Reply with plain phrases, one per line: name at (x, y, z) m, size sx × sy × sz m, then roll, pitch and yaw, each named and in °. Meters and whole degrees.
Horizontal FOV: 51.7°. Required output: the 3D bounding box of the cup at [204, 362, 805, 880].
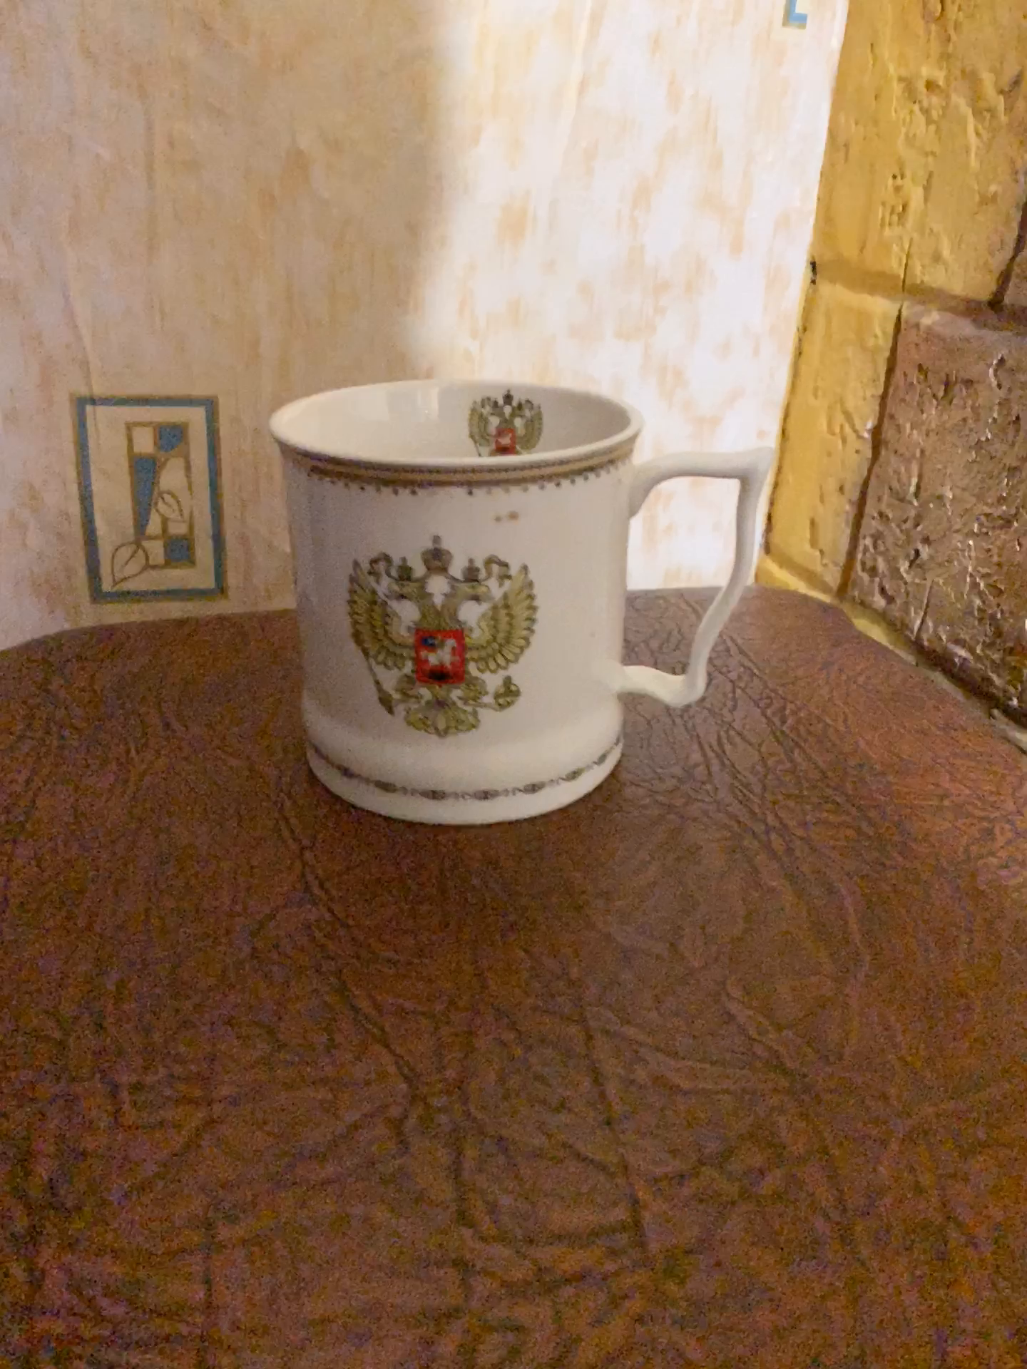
cup at (0.000, -0.024, 0.287) m, size 0.126 × 0.097 × 0.100 m, roll 6°, pitch 26°, yaw 5°
